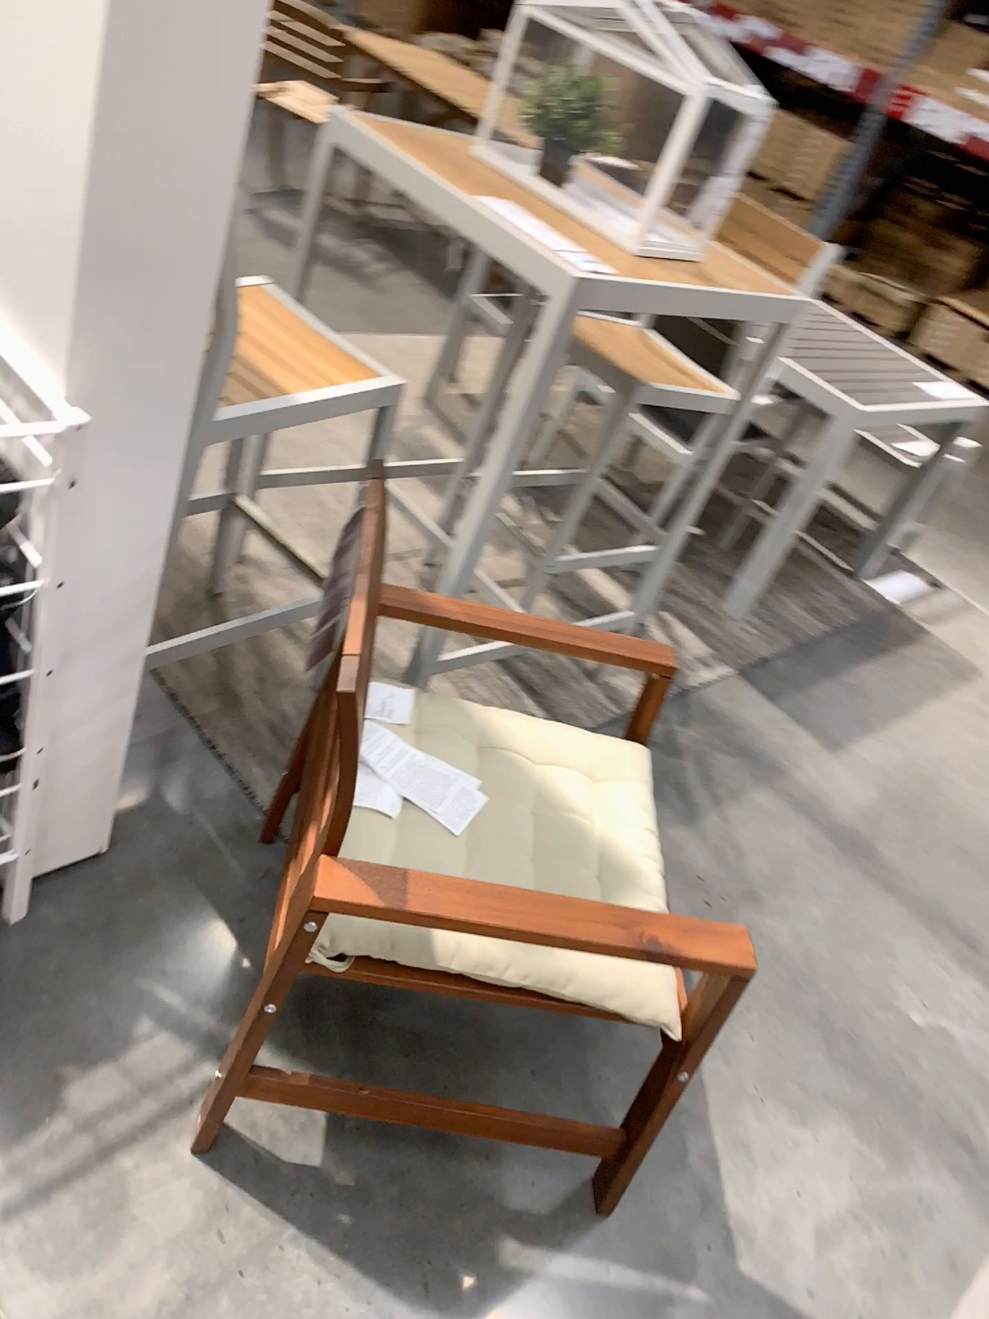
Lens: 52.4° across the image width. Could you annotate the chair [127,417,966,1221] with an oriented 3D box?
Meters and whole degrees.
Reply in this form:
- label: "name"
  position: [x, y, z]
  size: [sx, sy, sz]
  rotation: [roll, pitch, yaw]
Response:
- label: "chair"
  position: [-0.005, 0.230, 1.366]
  size: [0.720, 0.706, 0.653]
  rotation: [14, 36, -14]
